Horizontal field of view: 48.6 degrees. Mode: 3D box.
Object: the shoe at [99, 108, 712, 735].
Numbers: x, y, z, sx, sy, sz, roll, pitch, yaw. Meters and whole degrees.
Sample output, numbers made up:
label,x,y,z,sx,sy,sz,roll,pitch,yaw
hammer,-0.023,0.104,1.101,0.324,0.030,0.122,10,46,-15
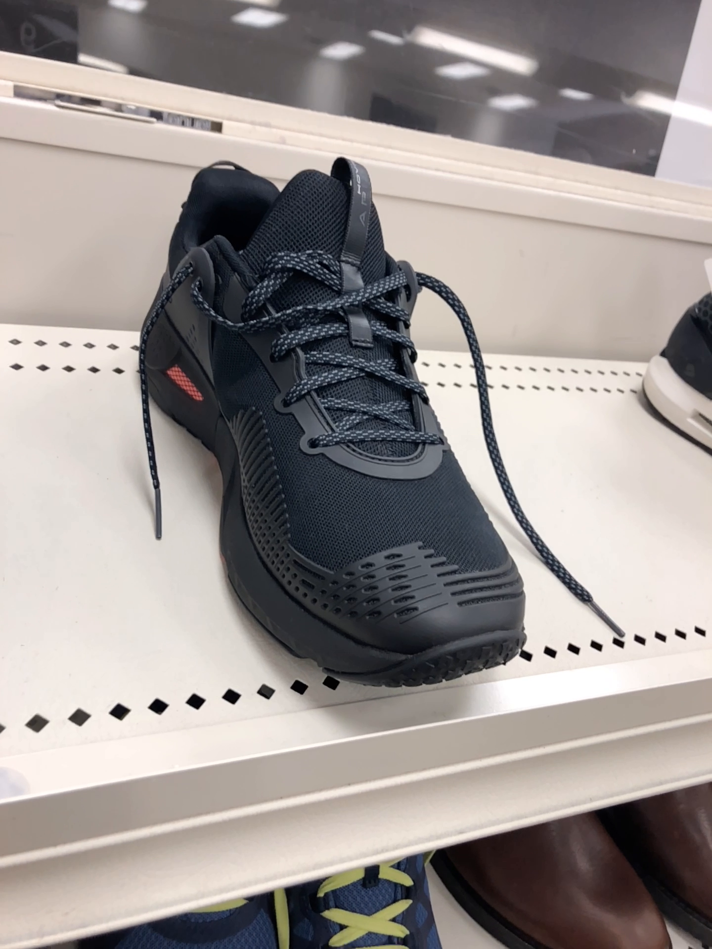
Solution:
label,x,y,z,sx,sy,sz,roll,pitch,yaw
shoe,-0.025,-0.067,0.375,0.120,0.129,0.352,-2,31,-28
